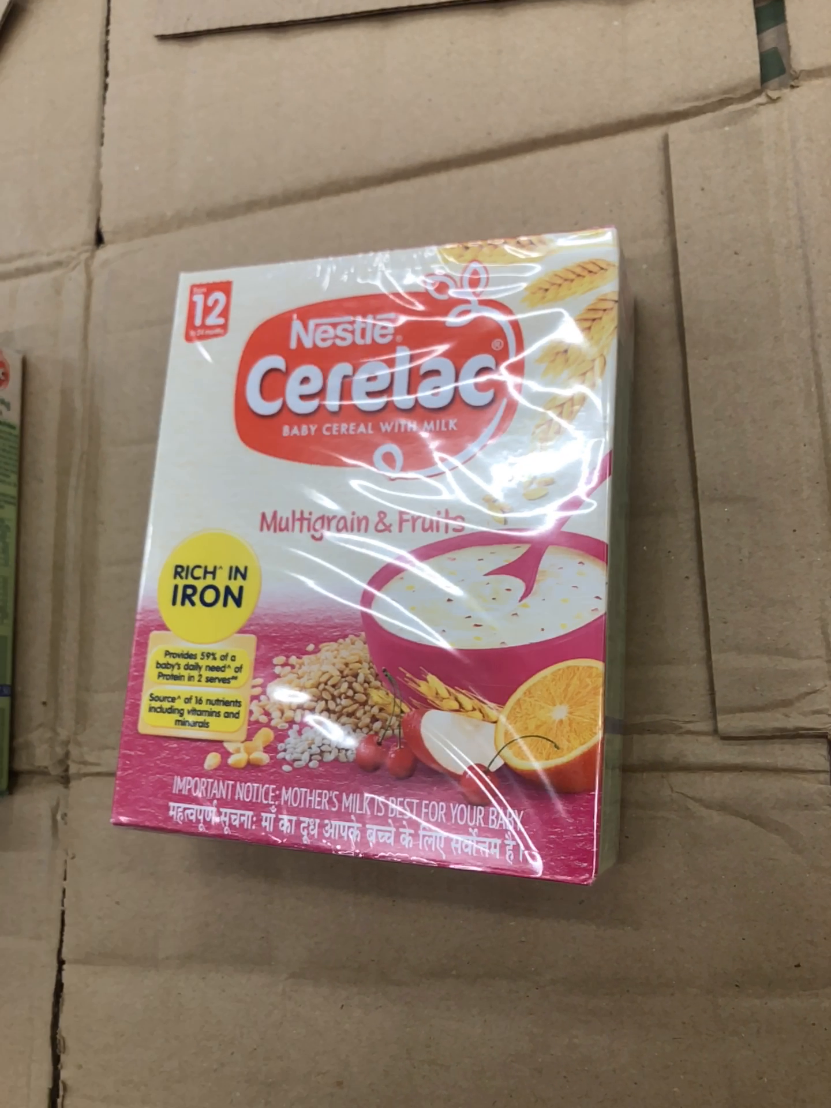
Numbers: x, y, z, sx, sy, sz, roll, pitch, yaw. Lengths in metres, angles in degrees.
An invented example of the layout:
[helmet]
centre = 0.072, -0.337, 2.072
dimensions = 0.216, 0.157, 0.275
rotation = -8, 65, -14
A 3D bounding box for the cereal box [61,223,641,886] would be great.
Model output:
[cereal box]
centre = -0.017, 0.000, 0.284
dimensions = 0.160, 0.050, 0.170
rotation = 0, 80, 20
